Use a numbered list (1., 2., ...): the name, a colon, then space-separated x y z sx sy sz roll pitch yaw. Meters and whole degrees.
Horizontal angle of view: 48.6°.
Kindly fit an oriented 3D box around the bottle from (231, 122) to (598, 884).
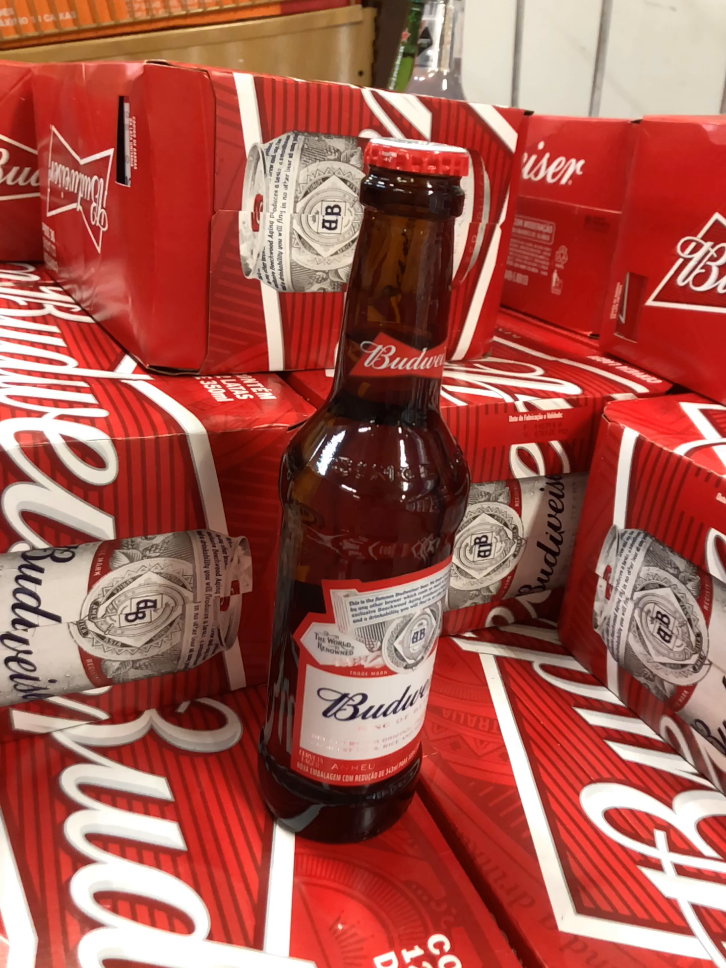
1. bottle: 0.006 0.011 0.262 0.070 0.228 0.060 -11 29 -34
